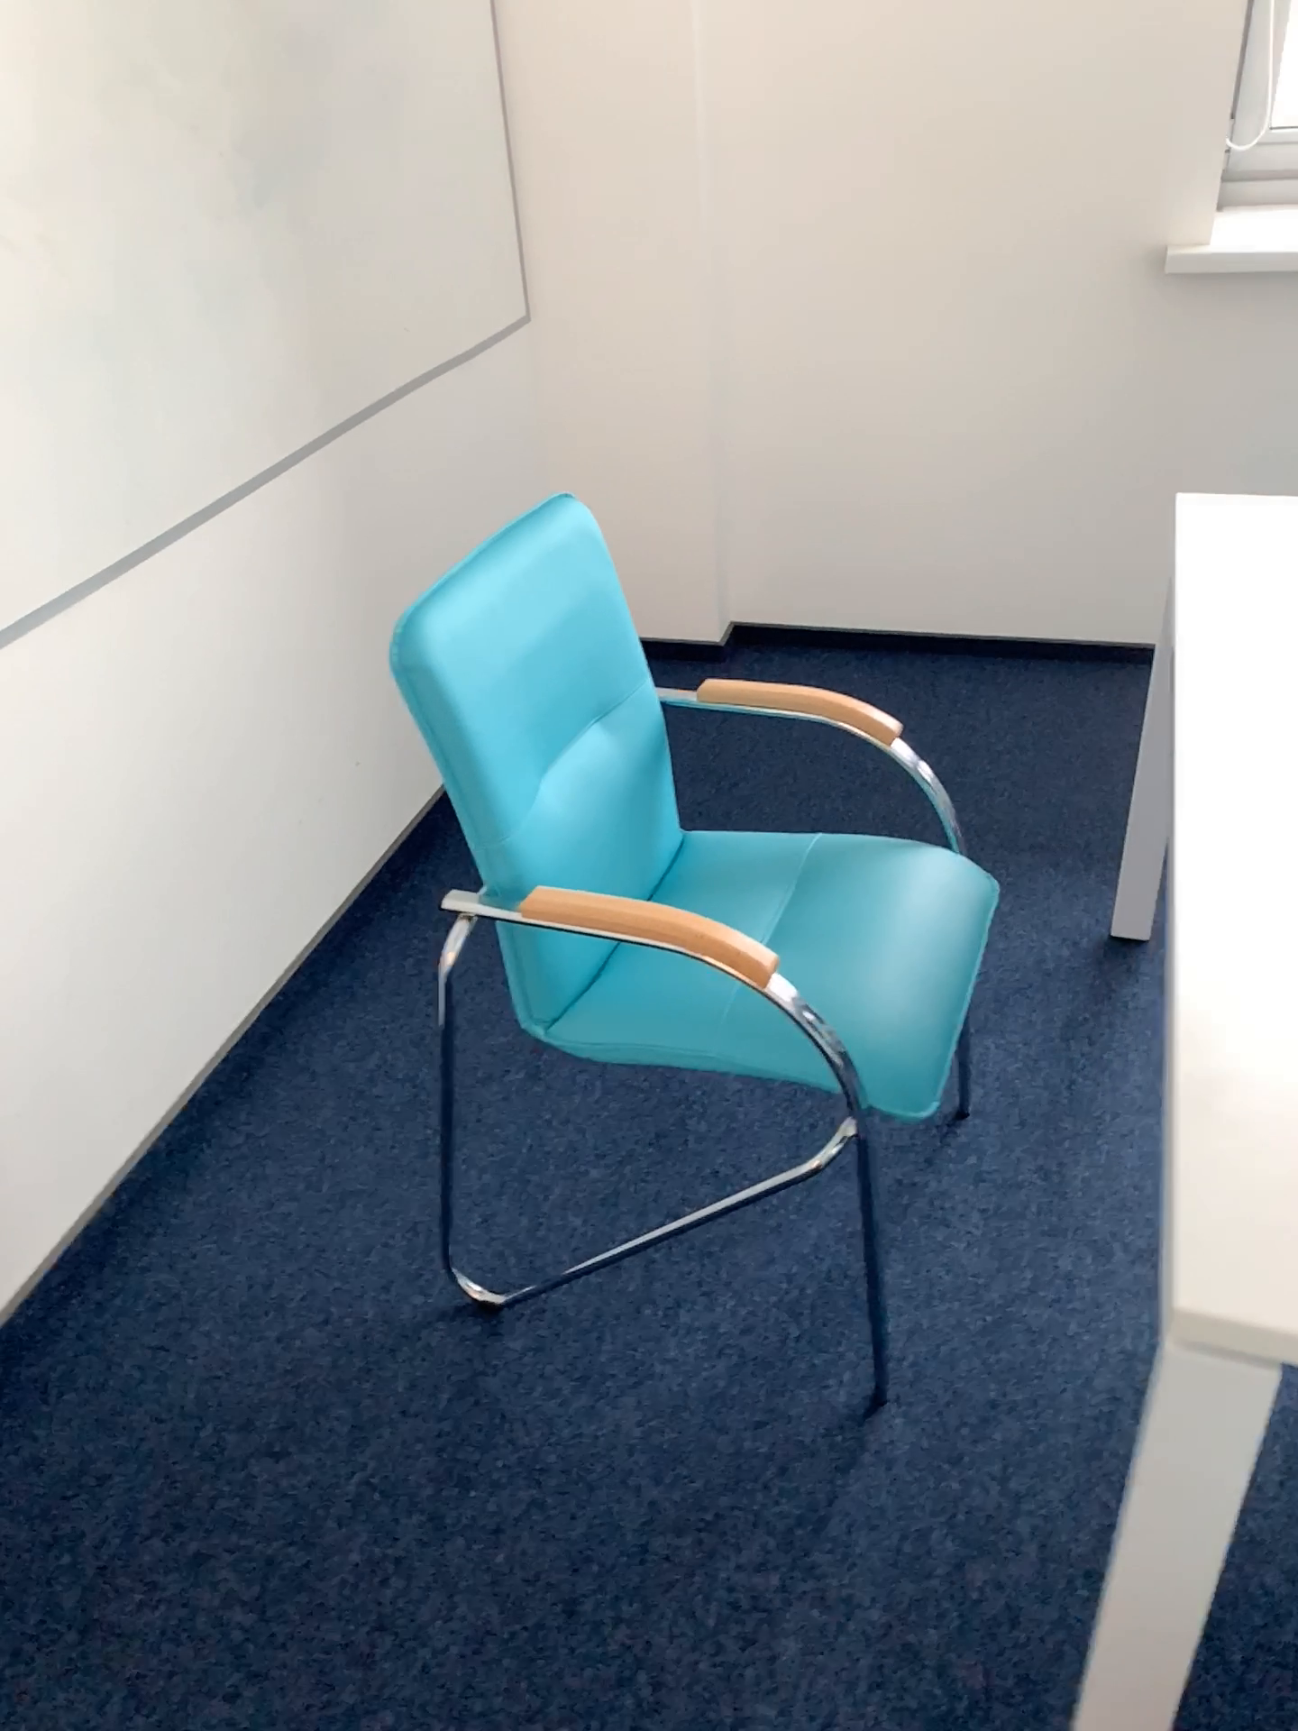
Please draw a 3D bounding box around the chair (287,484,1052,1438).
[{"bbox_3d":[0.086,0.091,1.653,0.650,0.925,0.583,9,35,20],"label":"chair"}]
